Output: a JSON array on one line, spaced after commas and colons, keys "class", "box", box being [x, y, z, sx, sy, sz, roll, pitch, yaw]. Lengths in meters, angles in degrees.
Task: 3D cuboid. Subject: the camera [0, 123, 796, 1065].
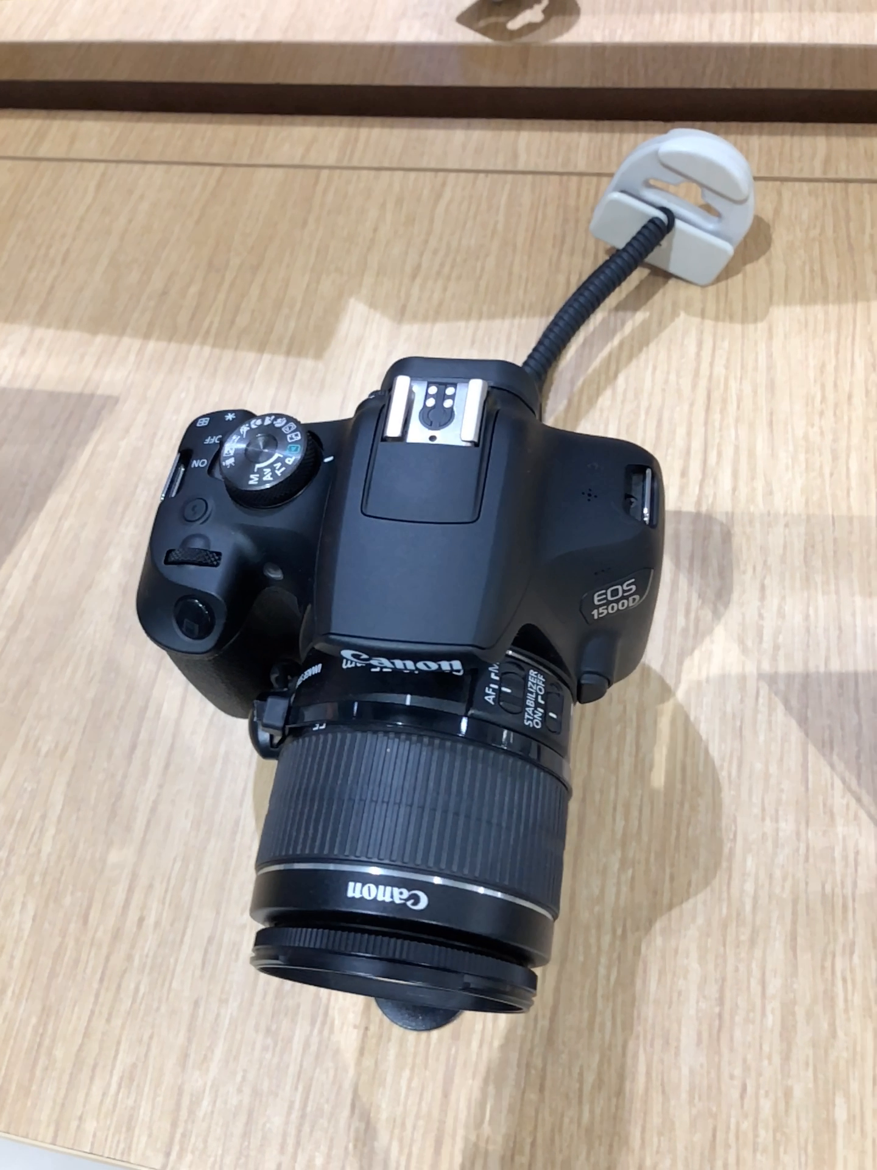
[{"class": "camera", "box": [-0.005, -0.002, 0.233, 0.140, 0.100, 0.191, 2, 61, 9]}]
